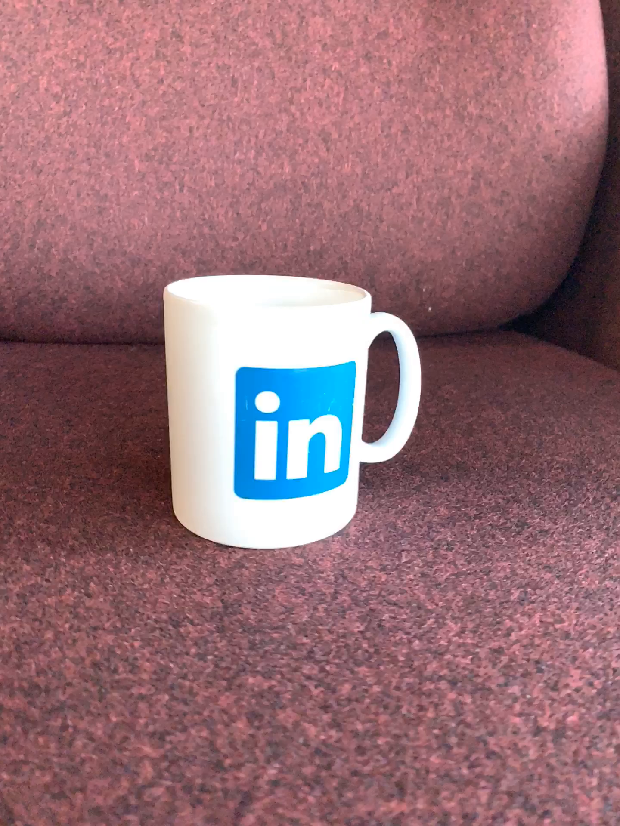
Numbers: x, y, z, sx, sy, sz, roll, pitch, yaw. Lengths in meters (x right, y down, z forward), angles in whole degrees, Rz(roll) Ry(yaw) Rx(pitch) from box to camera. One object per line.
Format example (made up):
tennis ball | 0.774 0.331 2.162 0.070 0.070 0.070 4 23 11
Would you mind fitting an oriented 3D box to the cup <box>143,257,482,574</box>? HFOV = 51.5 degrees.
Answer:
cup | -0.003 -0.007 0.247 0.104 0.089 0.075 -7 21 -17
